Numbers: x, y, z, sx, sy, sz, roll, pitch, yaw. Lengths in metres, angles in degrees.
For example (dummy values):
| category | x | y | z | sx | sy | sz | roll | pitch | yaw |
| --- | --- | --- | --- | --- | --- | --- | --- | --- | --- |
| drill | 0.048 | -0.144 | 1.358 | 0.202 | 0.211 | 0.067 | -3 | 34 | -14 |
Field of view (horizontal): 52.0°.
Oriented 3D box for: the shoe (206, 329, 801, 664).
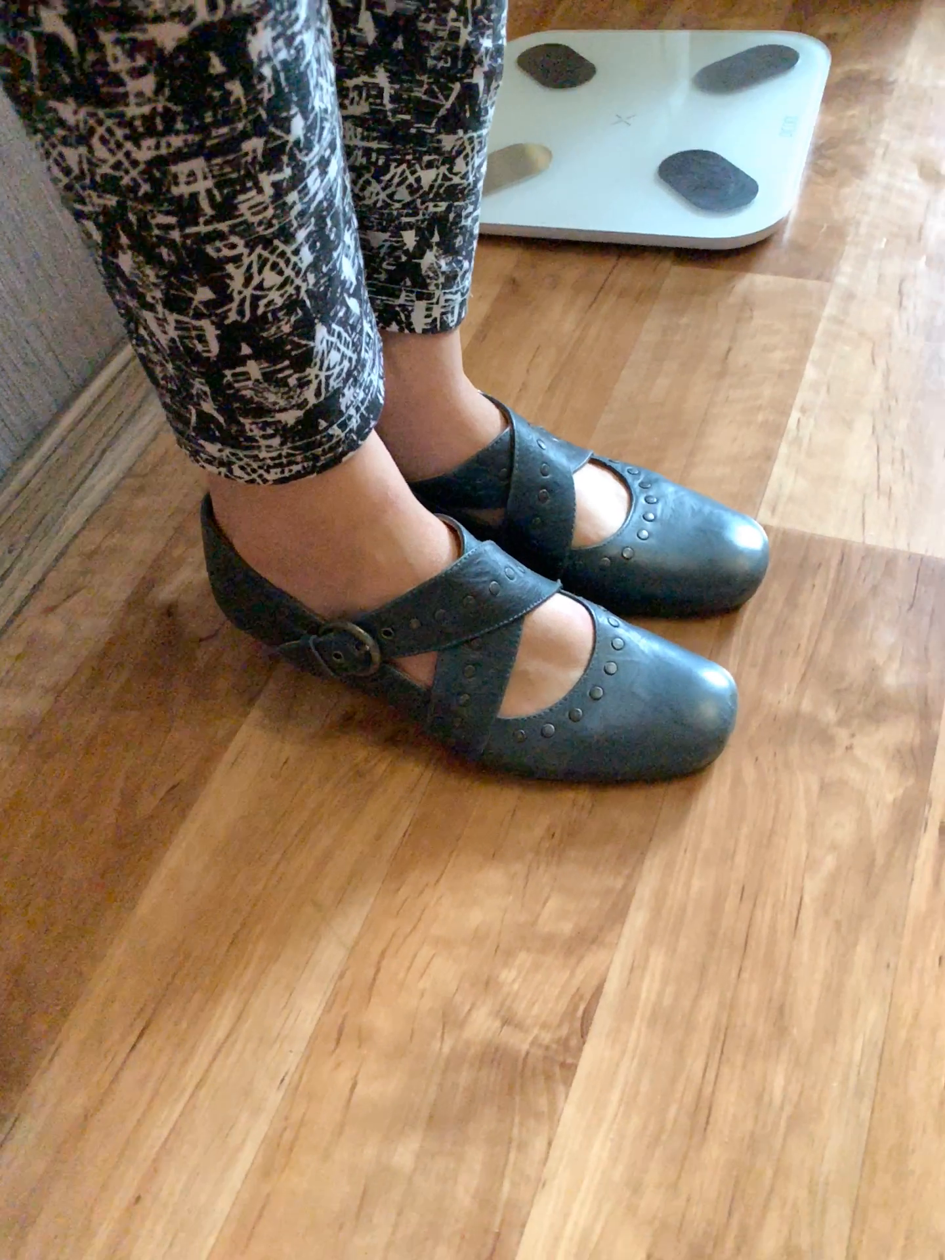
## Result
| category | x | y | z | sx | sy | sz | roll | pitch | yaw |
| --- | --- | --- | --- | --- | --- | --- | --- | --- | --- |
| shoe | 0.017 | -0.068 | 0.468 | 0.250 | 0.100 | 0.090 | 9 | 56 | 17 |

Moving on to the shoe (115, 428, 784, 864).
| category | x | y | z | sx | sy | sz | roll | pitch | yaw |
| --- | --- | --- | --- | --- | --- | --- | --- | --- | --- |
| shoe | -0.007 | 0.001 | 0.406 | 0.240 | 0.100 | 0.090 | 13 | 57 | 20 |
